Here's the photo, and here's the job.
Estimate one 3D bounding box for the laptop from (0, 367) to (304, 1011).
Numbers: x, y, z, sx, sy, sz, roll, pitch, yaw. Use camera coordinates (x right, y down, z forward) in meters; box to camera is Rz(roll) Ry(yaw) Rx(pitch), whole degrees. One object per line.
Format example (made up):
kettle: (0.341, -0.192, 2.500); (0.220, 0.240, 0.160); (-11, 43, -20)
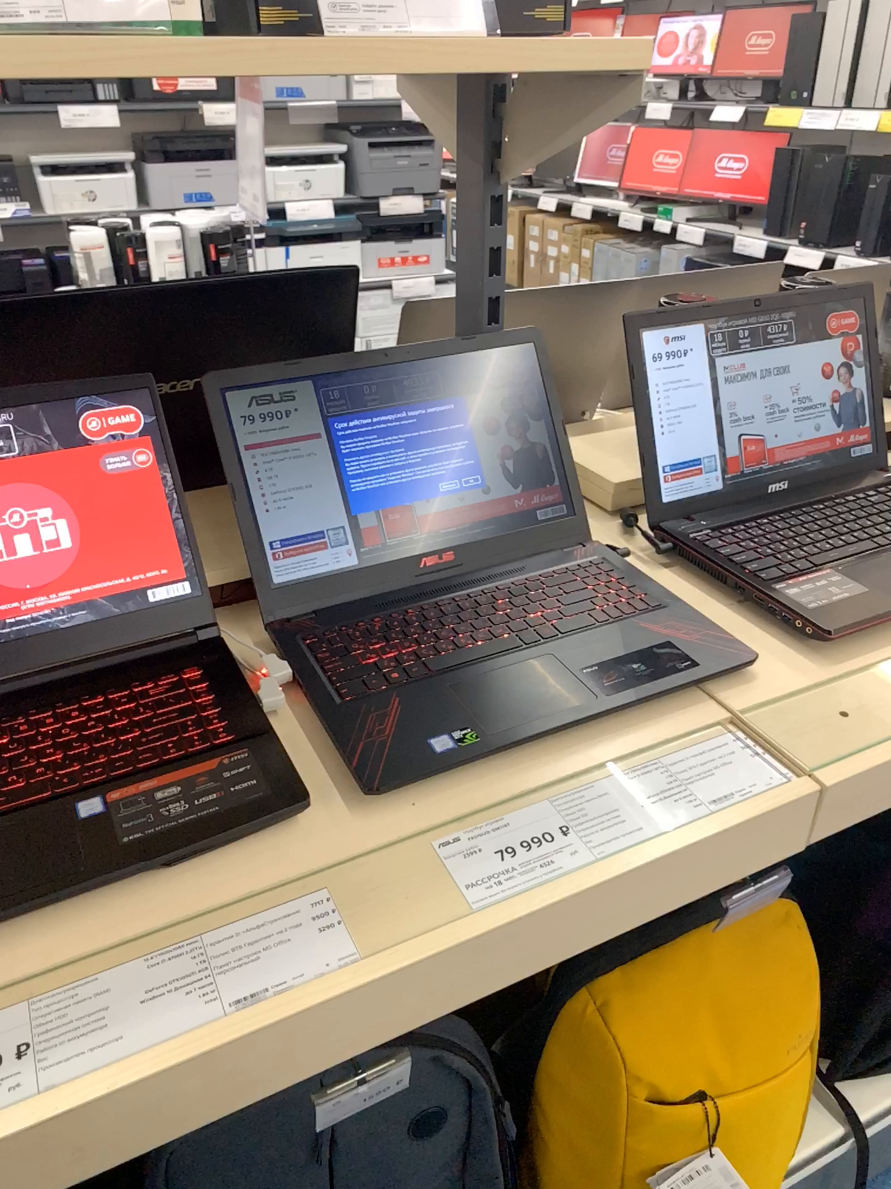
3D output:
laptop: (-0.325, 0.012, 0.651); (0.339, 0.209, 0.354); (-14, 33, -24)

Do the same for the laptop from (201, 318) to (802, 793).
laptop: (0.022, -0.078, 0.817); (0.365, 0.199, 0.384); (-15, 33, -22)
